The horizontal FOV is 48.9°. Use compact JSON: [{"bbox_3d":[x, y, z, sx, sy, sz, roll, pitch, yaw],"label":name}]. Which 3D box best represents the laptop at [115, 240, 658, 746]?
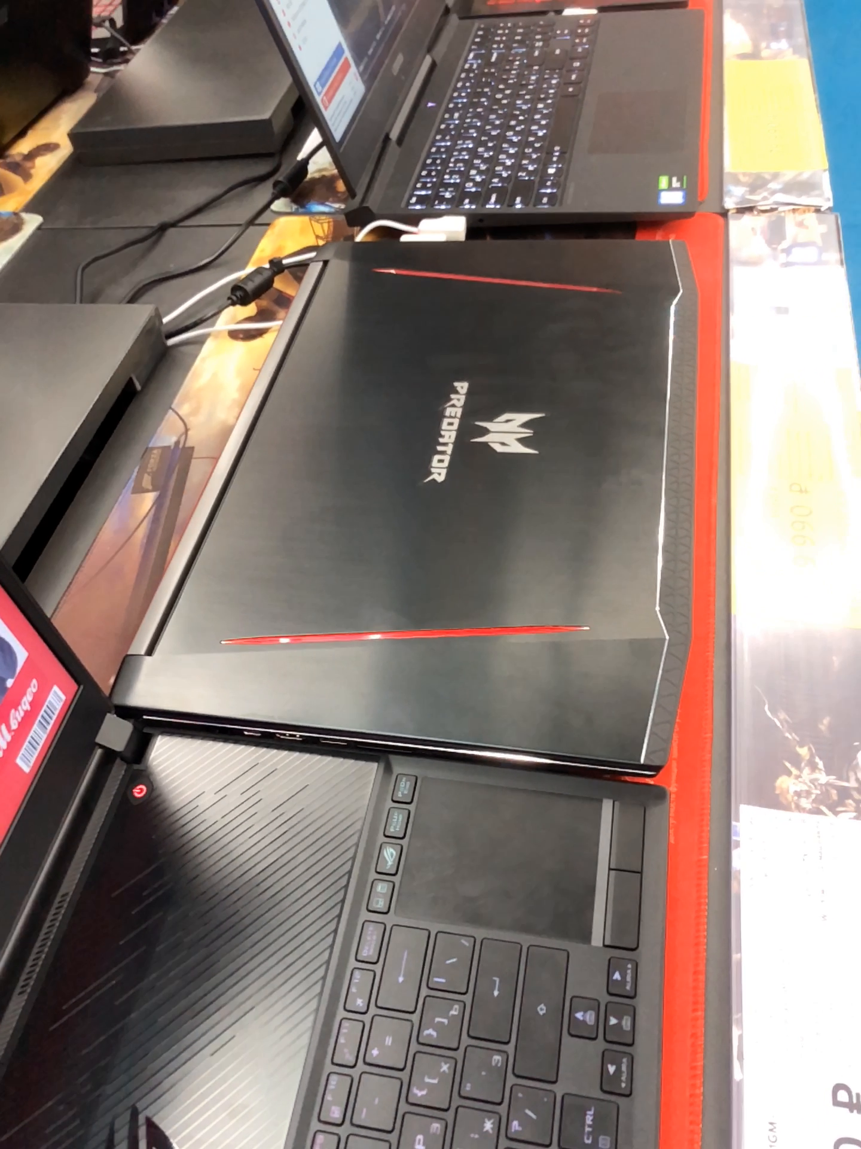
[{"bbox_3d":[0.004,-0.082,0.523,0.228,0.004,0.379,3,50,12],"label":"laptop"}]
